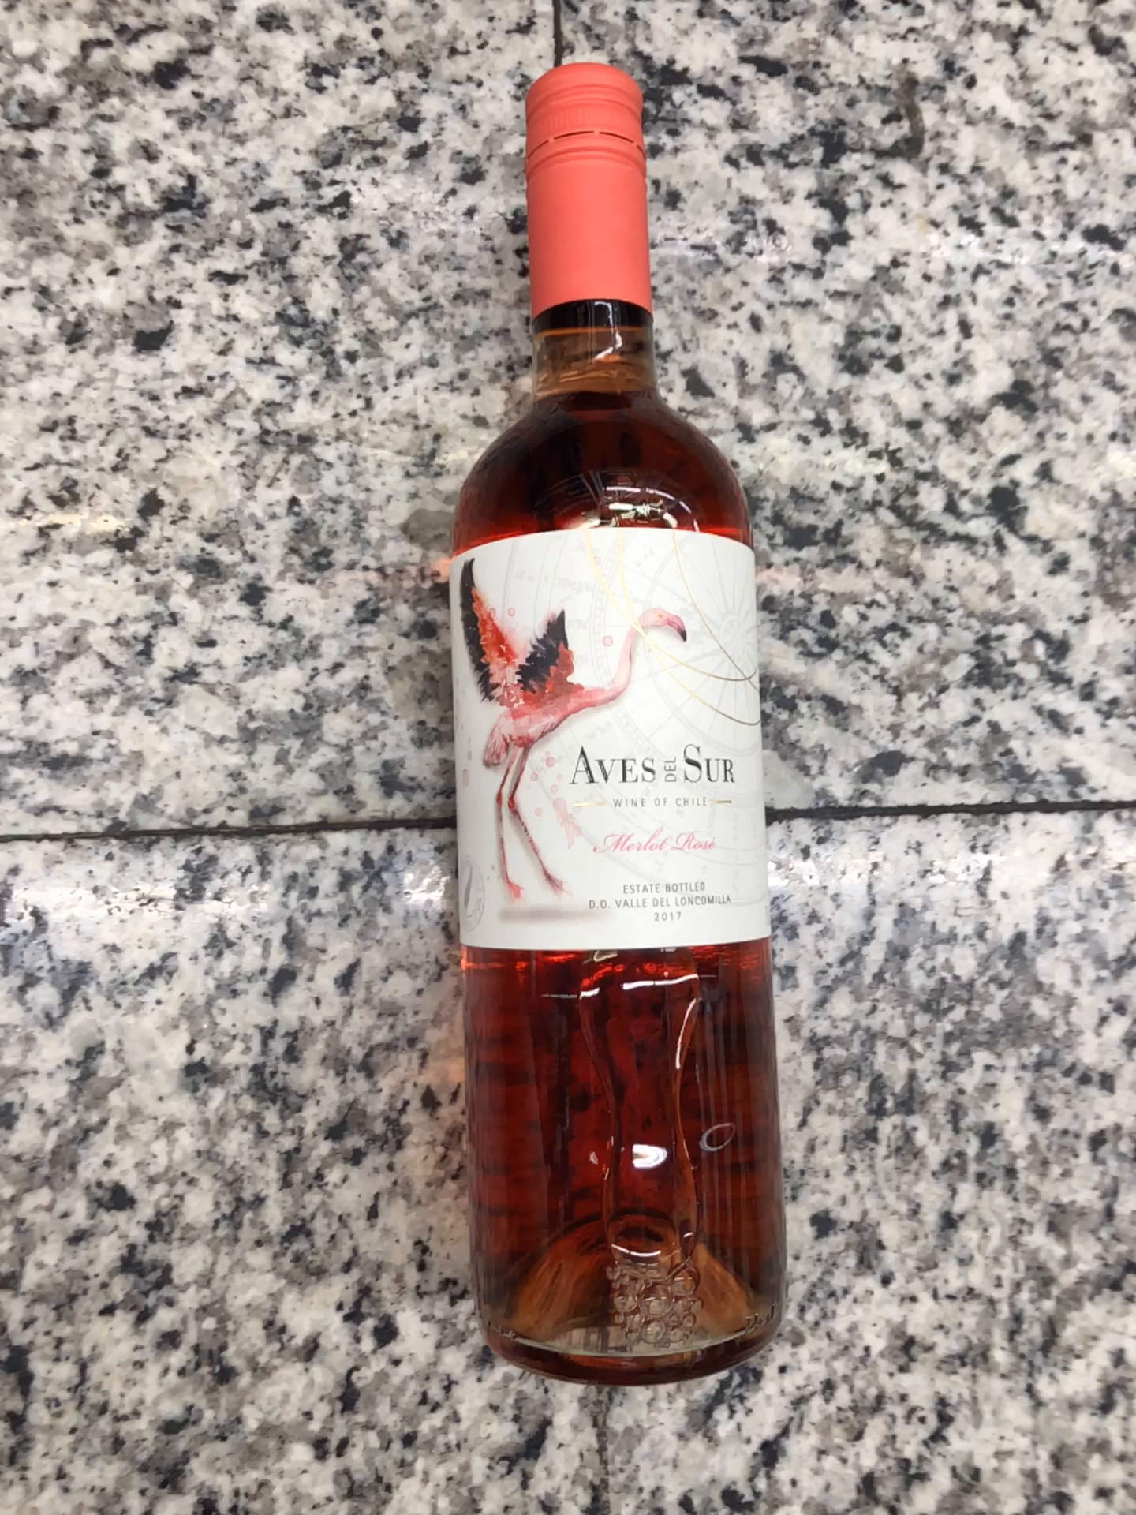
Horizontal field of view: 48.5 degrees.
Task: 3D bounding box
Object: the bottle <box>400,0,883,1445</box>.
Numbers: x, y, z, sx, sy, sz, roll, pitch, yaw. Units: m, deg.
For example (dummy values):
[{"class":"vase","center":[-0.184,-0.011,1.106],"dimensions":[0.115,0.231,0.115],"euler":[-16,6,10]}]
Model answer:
[{"class":"bottle","center":[0.011,-0.022,0.324],"dimensions":[0.090,0.070,0.340],"euler":[-3,85,-9]}]
